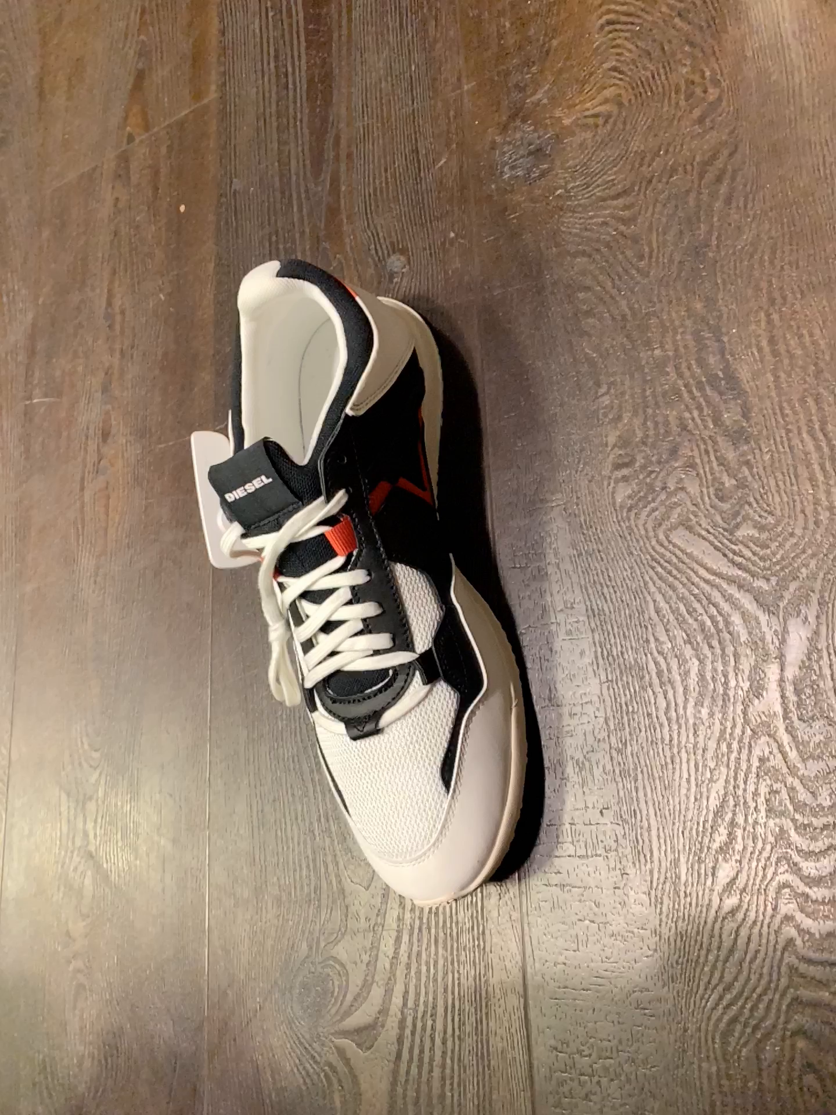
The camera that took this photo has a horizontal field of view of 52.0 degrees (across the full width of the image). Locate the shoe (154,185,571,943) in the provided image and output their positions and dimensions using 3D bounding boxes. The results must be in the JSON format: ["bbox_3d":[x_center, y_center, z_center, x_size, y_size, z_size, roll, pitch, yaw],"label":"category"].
[{"bbox_3d":[-0.032,0.003,0.401,0.110,0.109,0.301,-20,69,27],"label":"shoe"}]
